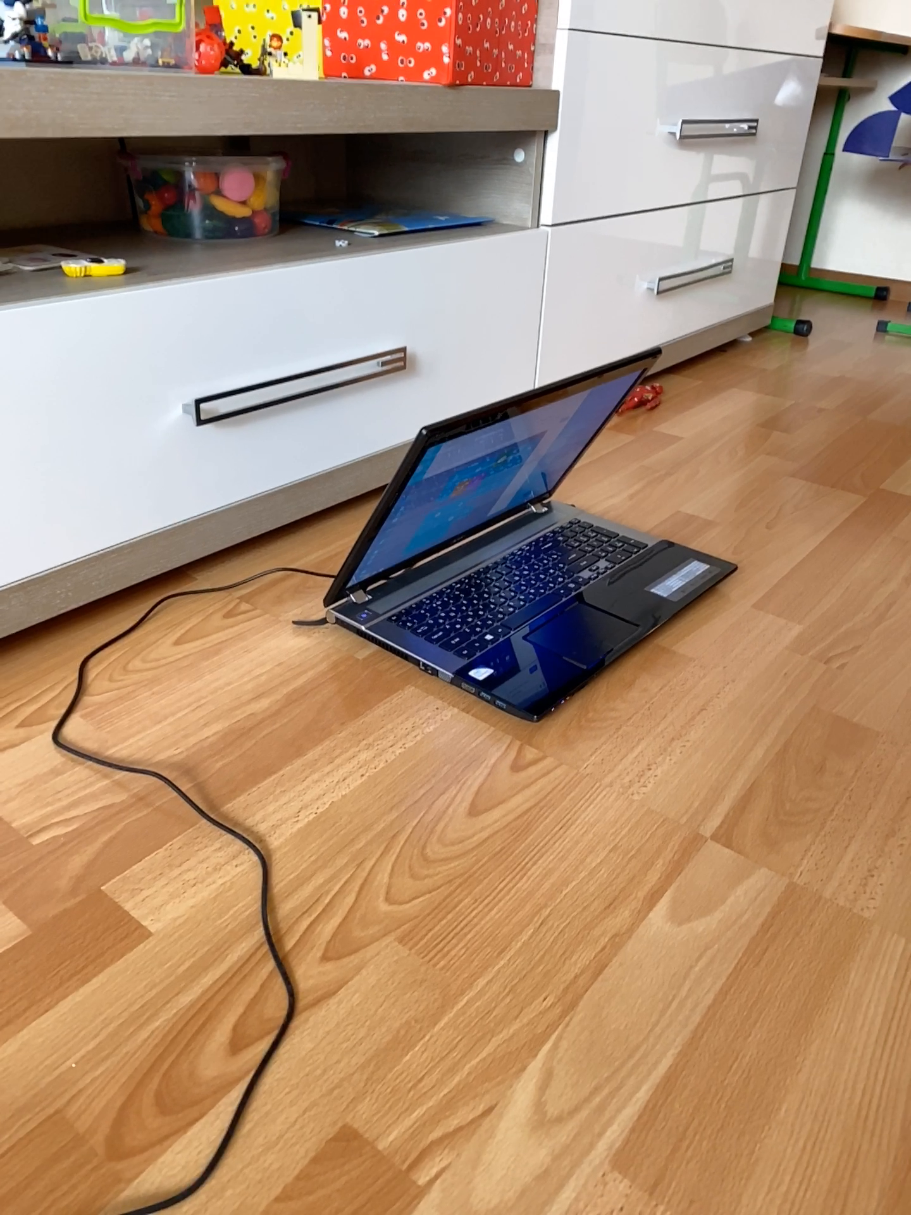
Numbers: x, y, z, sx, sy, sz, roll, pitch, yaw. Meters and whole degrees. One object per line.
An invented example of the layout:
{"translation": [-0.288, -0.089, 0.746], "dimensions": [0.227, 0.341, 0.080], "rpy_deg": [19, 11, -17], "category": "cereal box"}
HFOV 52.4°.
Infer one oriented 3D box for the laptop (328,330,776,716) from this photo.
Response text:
{"translation": [0.108, -0.124, 0.990], "dimensions": [0.269, 0.233, 0.413], "rpy_deg": [24, 35, 33], "category": "laptop"}
